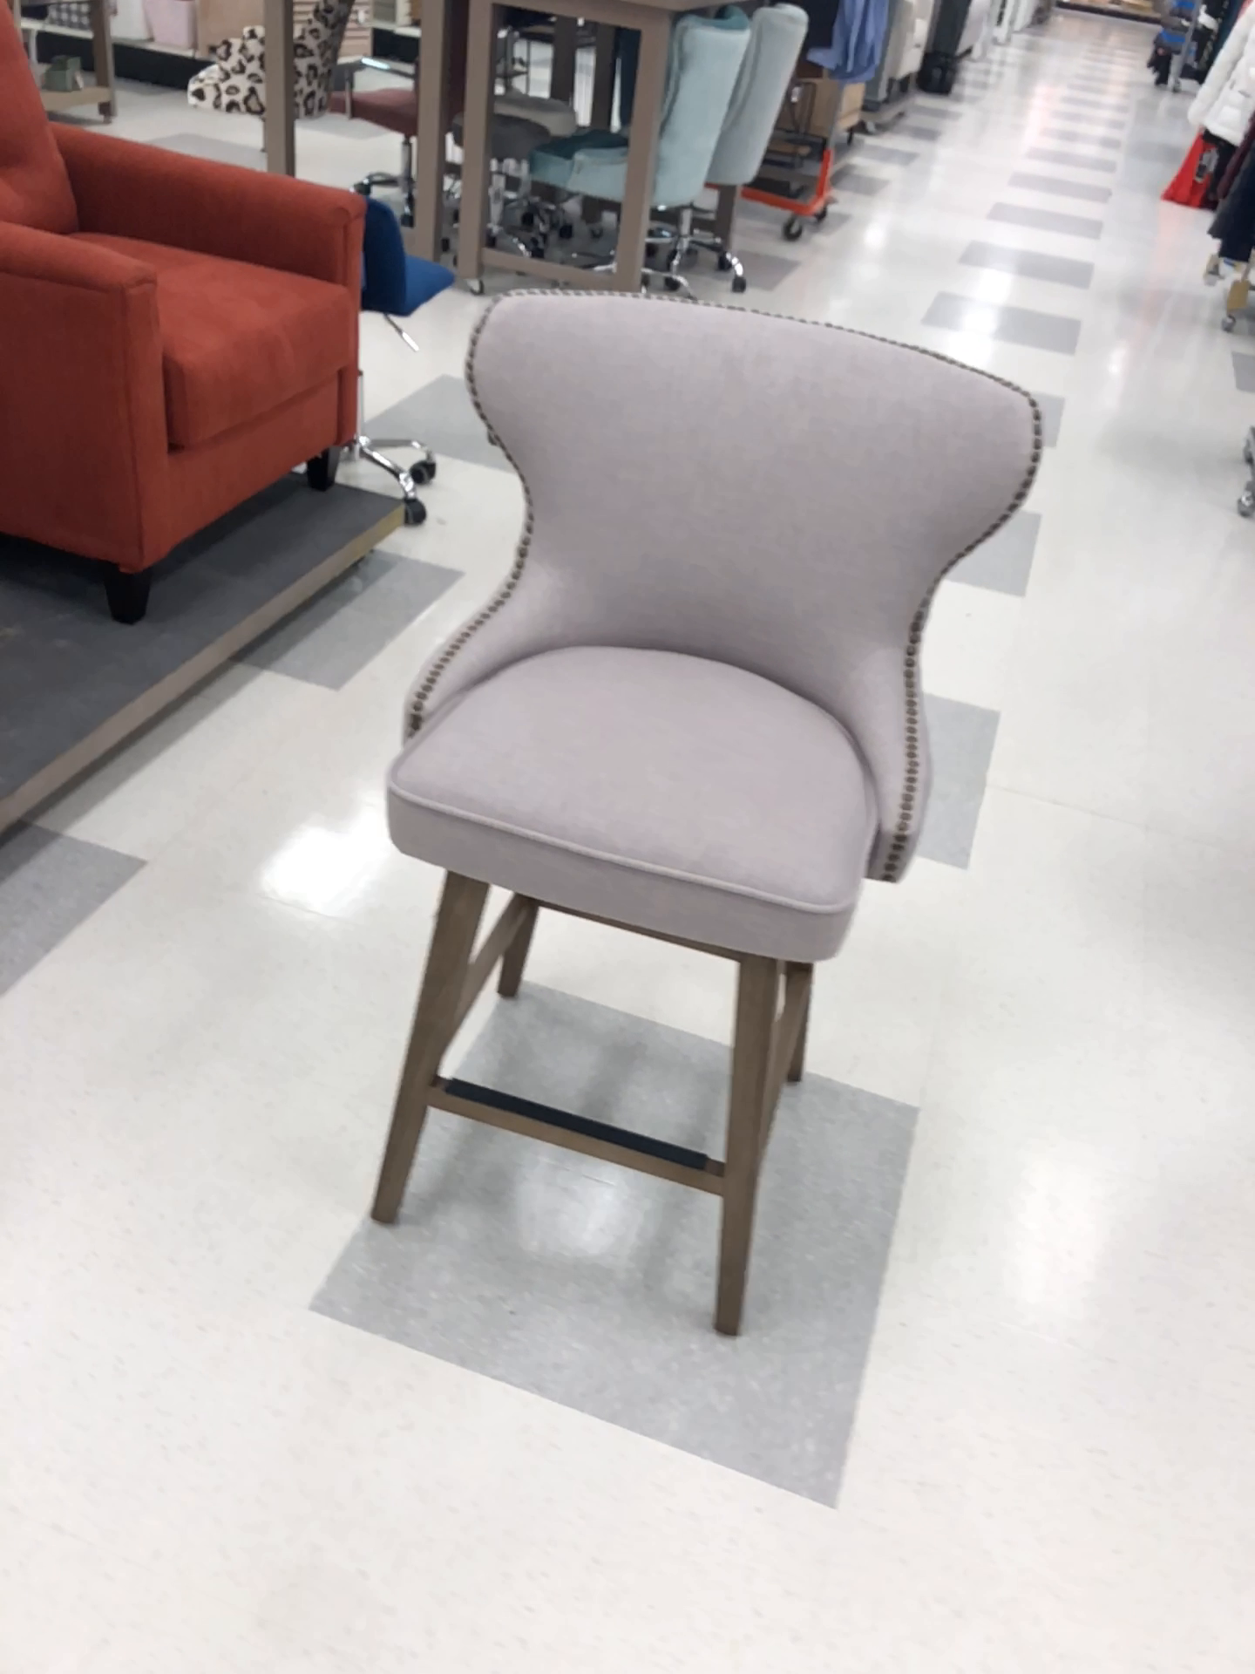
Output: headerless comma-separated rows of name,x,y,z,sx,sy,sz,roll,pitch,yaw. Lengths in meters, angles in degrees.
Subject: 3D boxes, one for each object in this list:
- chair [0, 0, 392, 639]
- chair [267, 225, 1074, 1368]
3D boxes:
chair,-1.137,-1.129,2.690,0.996,0.969,0.915,18,35,13
chair,0.018,-0.027,1.479,0.608,0.999,0.480,15,35,9
